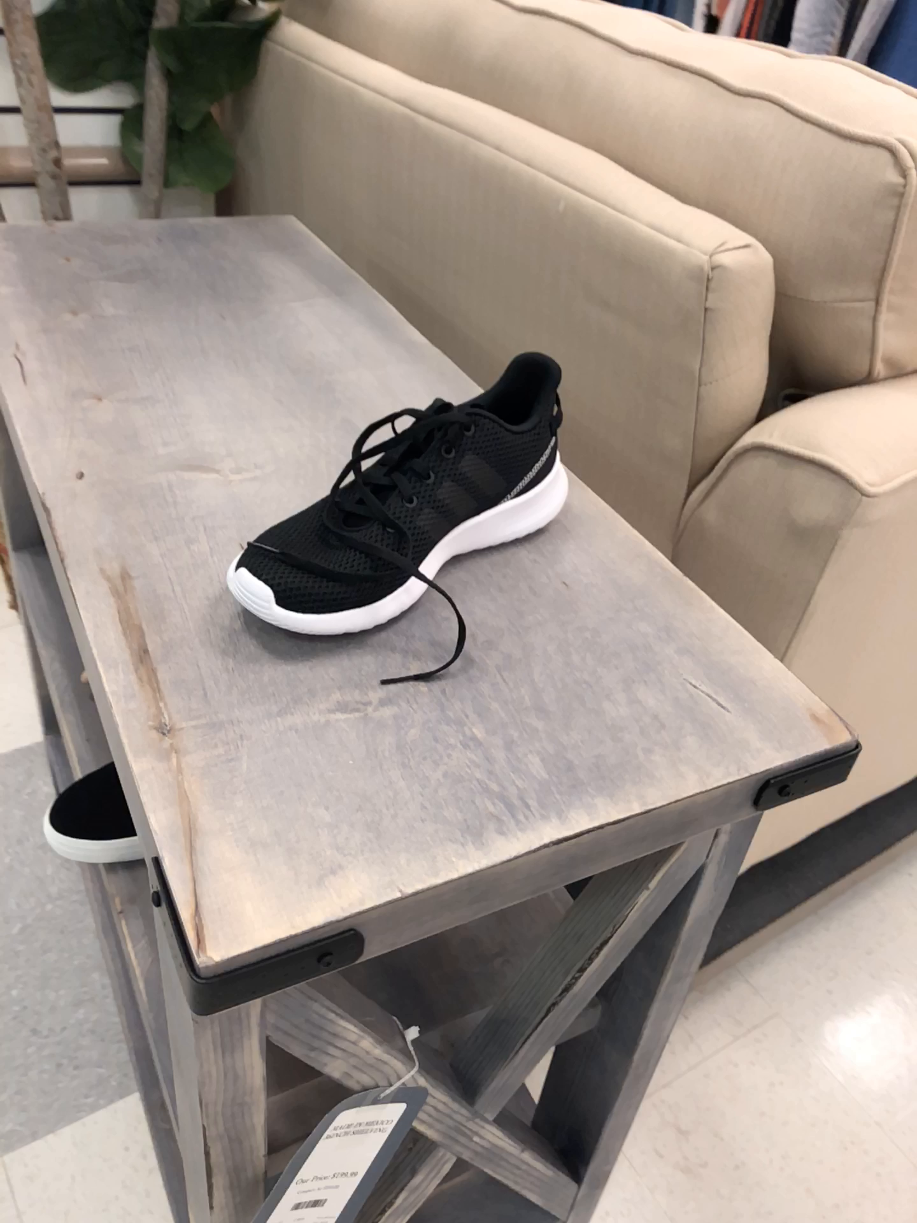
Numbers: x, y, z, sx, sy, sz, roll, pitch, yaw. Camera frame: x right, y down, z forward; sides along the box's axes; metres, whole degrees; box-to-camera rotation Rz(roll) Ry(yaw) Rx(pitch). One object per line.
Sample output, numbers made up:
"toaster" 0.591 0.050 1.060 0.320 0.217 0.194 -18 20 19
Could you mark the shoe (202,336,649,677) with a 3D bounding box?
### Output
"shoe" -0.015 -0.085 0.678 0.120 0.109 0.284 35 44 31
